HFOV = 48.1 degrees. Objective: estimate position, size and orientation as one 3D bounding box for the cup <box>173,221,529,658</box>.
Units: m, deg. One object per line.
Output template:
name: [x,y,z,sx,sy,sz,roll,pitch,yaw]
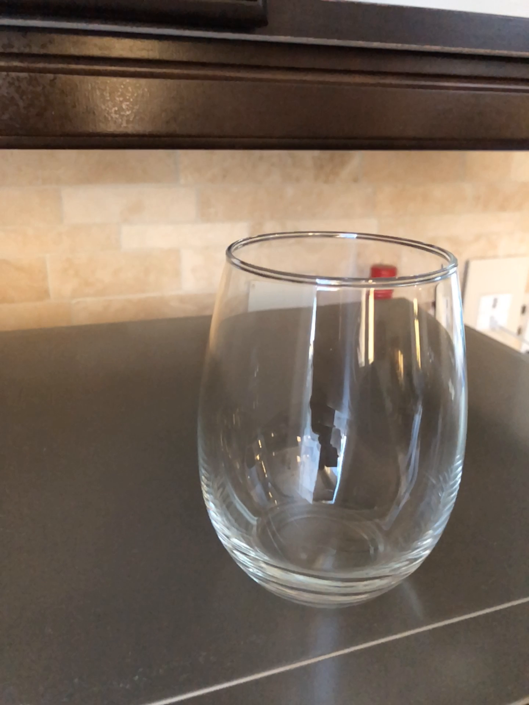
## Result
cup: [0.022,0.017,0.198,0.078,0.104,0.083,1,21,0]
